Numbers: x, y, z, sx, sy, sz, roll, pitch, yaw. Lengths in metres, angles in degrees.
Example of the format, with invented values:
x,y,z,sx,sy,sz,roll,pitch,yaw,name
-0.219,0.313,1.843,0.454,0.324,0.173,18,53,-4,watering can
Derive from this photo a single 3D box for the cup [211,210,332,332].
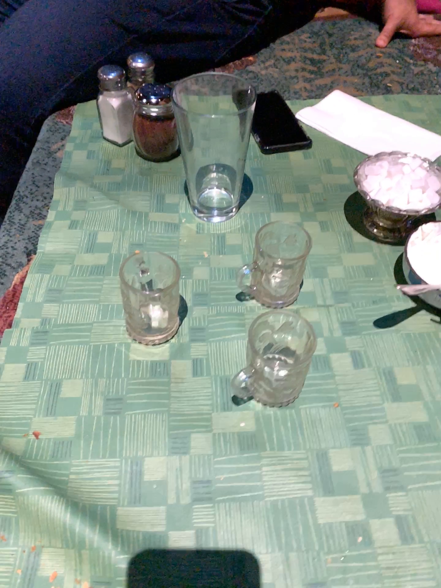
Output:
x,y,z,sx,sy,sz,roll,pitch,yaw,name
0.046,-0.023,0.430,0.090,0.060,0.060,-29,57,-21,cup

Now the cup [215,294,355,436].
x,y,z,sx,sy,sz,roll,pitch,yaw,name
0.049,0.059,0.377,0.090,0.070,0.060,-22,54,-16,cup

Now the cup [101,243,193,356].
x,y,z,sx,sy,sz,roll,pitch,yaw,name
-0.065,0.004,0.403,0.070,0.050,0.080,-6,51,-4,cup

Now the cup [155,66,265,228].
x,y,z,sx,sy,sz,roll,pitch,yaw,name
-0.014,-0.168,0.521,0.100,0.129,0.111,-7,52,-6,cup
